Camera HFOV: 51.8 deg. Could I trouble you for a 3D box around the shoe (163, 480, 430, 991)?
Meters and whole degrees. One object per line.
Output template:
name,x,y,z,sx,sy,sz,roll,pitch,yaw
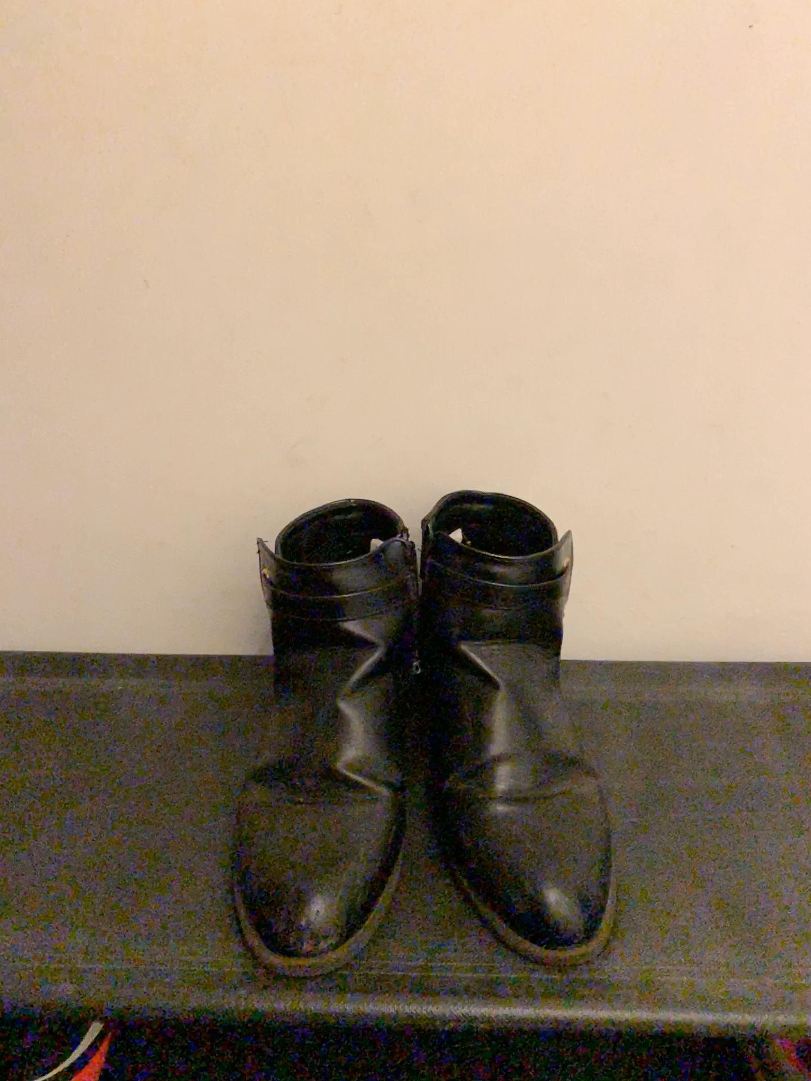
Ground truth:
shoe,-0.041,0.087,0.460,0.100,0.169,0.222,2,24,2

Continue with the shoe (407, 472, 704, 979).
shoe,0.062,0.083,0.482,0.100,0.169,0.242,-1,25,-5
